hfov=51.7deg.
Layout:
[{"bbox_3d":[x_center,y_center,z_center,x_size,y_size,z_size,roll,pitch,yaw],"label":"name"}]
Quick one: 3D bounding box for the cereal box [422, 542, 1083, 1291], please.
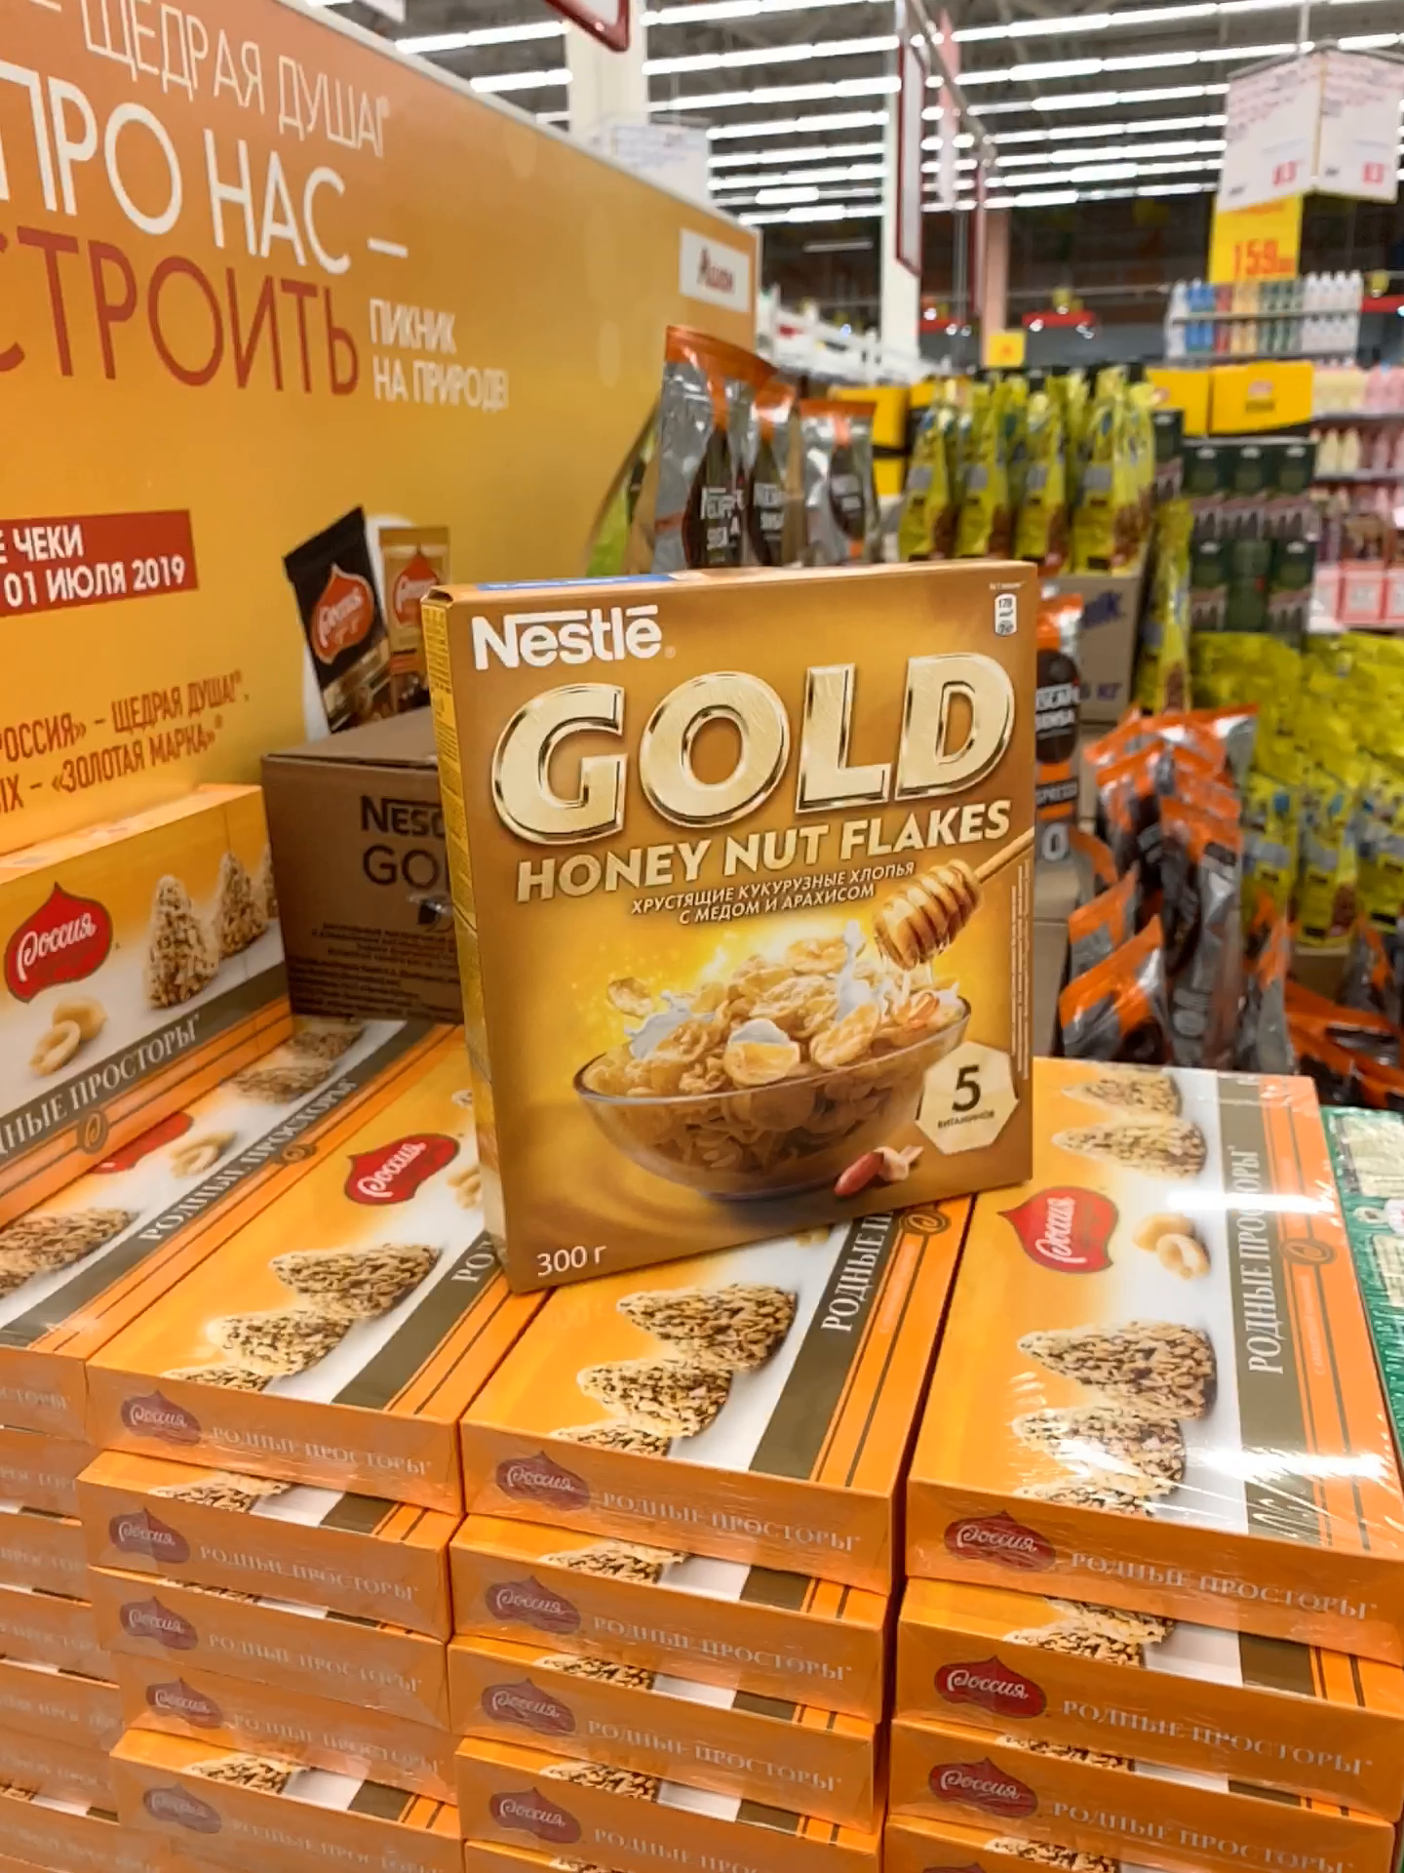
[{"bbox_3d":[0.020,-0.014,0.487,0.200,0.219,0.060,-8,18,-20],"label":"cereal box"}]
